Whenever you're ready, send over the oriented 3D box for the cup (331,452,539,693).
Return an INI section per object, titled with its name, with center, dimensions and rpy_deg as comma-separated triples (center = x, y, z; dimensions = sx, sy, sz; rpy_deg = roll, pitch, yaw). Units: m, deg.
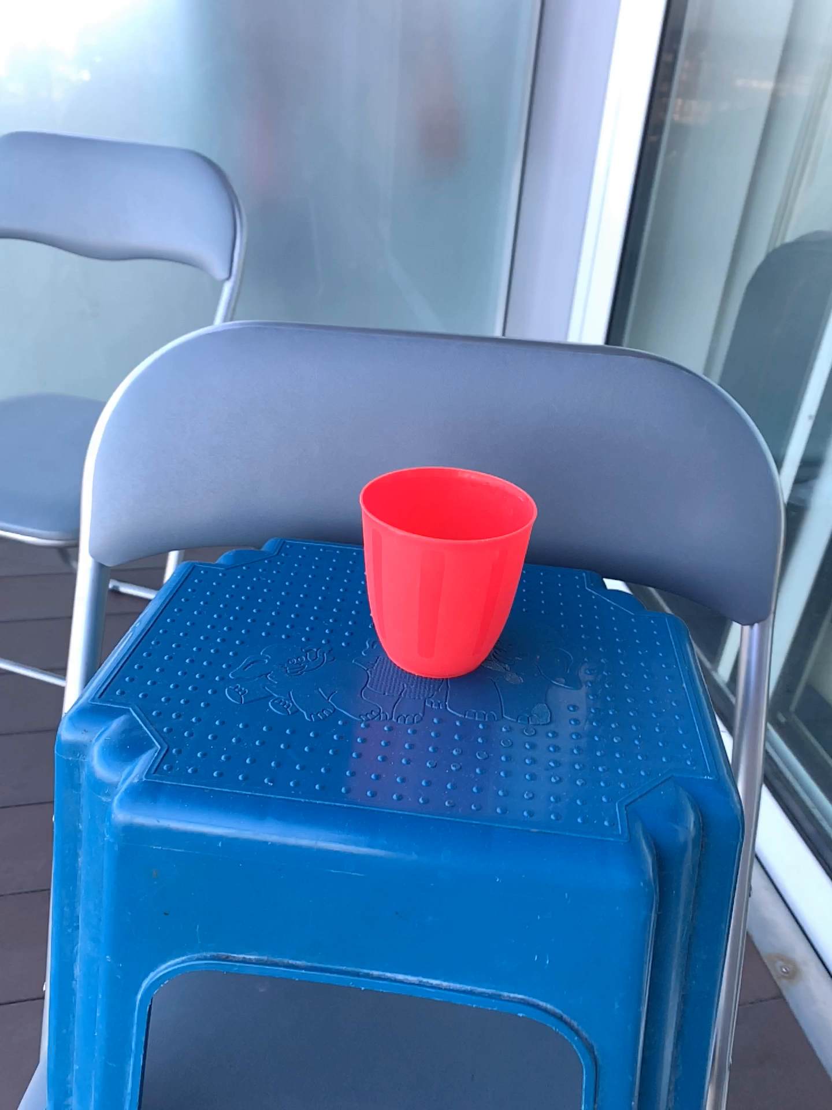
[cup]
center = 0.010, 0.007, 0.408
dimensions = 0.086, 0.077, 0.074
rpy_deg = 7, 32, 3
